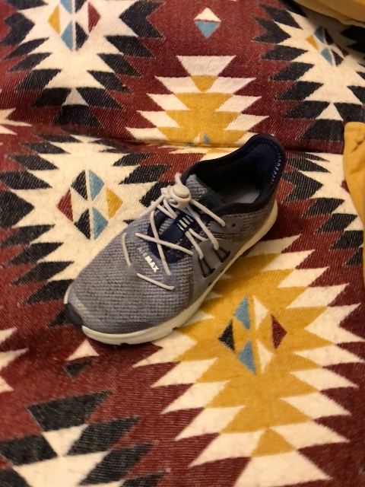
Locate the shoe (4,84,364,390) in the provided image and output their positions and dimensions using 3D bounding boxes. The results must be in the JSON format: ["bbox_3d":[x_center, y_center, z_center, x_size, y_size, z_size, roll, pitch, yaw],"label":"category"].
[{"bbox_3d":[0.010,-0.010,0.274,0.212,0.074,0.094,-33,71,-19],"label":"shoe"}]
